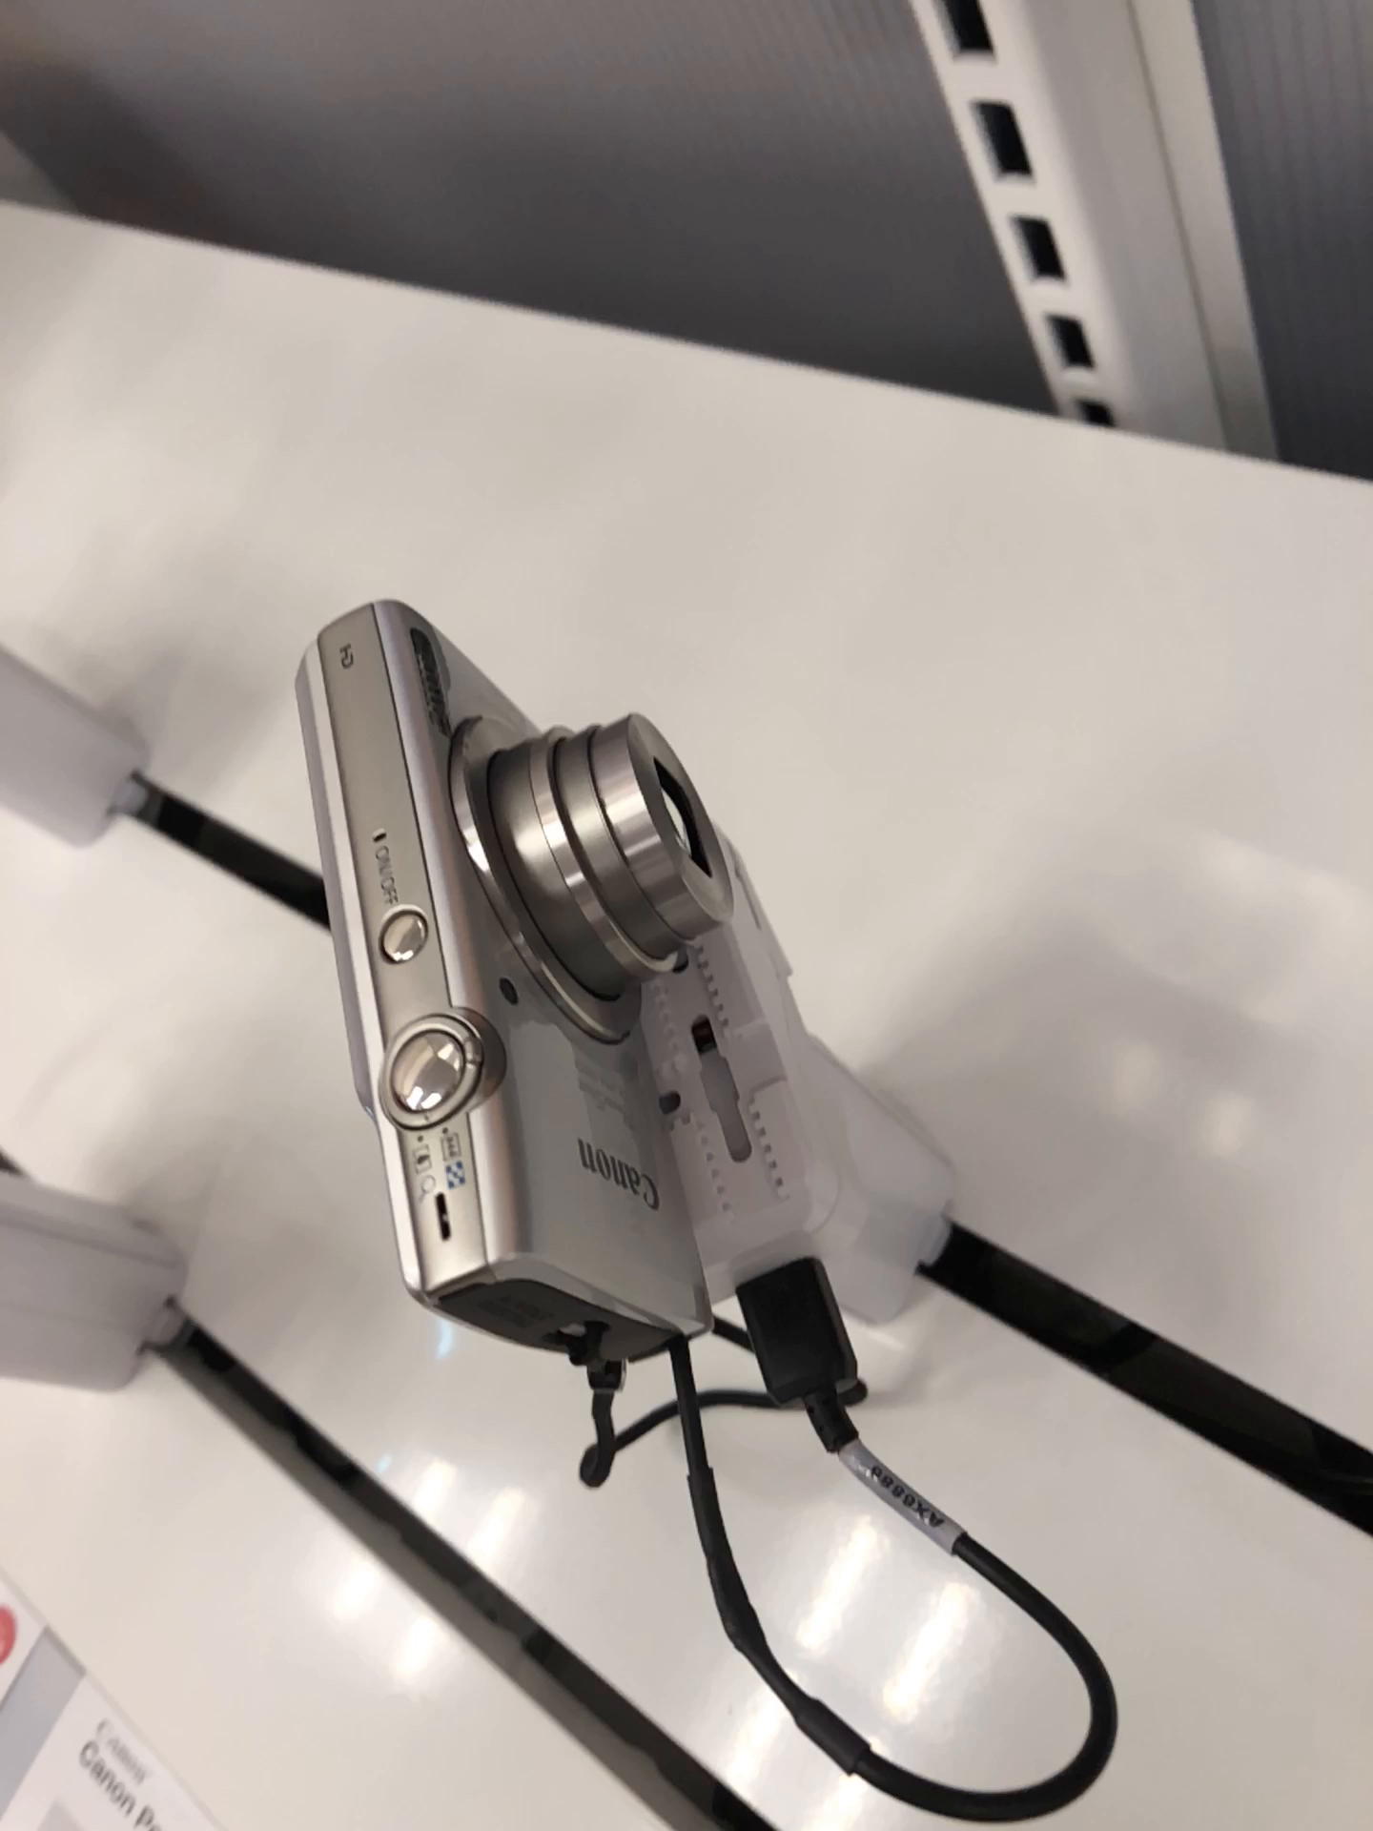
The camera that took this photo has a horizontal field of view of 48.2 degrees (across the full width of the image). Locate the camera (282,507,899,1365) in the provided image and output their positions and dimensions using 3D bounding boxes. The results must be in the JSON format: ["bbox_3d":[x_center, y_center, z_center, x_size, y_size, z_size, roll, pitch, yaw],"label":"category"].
[{"bbox_3d":[-0.014,0.004,0.200,0.042,0.055,0.089,-25,59,16],"label":"camera"}]
